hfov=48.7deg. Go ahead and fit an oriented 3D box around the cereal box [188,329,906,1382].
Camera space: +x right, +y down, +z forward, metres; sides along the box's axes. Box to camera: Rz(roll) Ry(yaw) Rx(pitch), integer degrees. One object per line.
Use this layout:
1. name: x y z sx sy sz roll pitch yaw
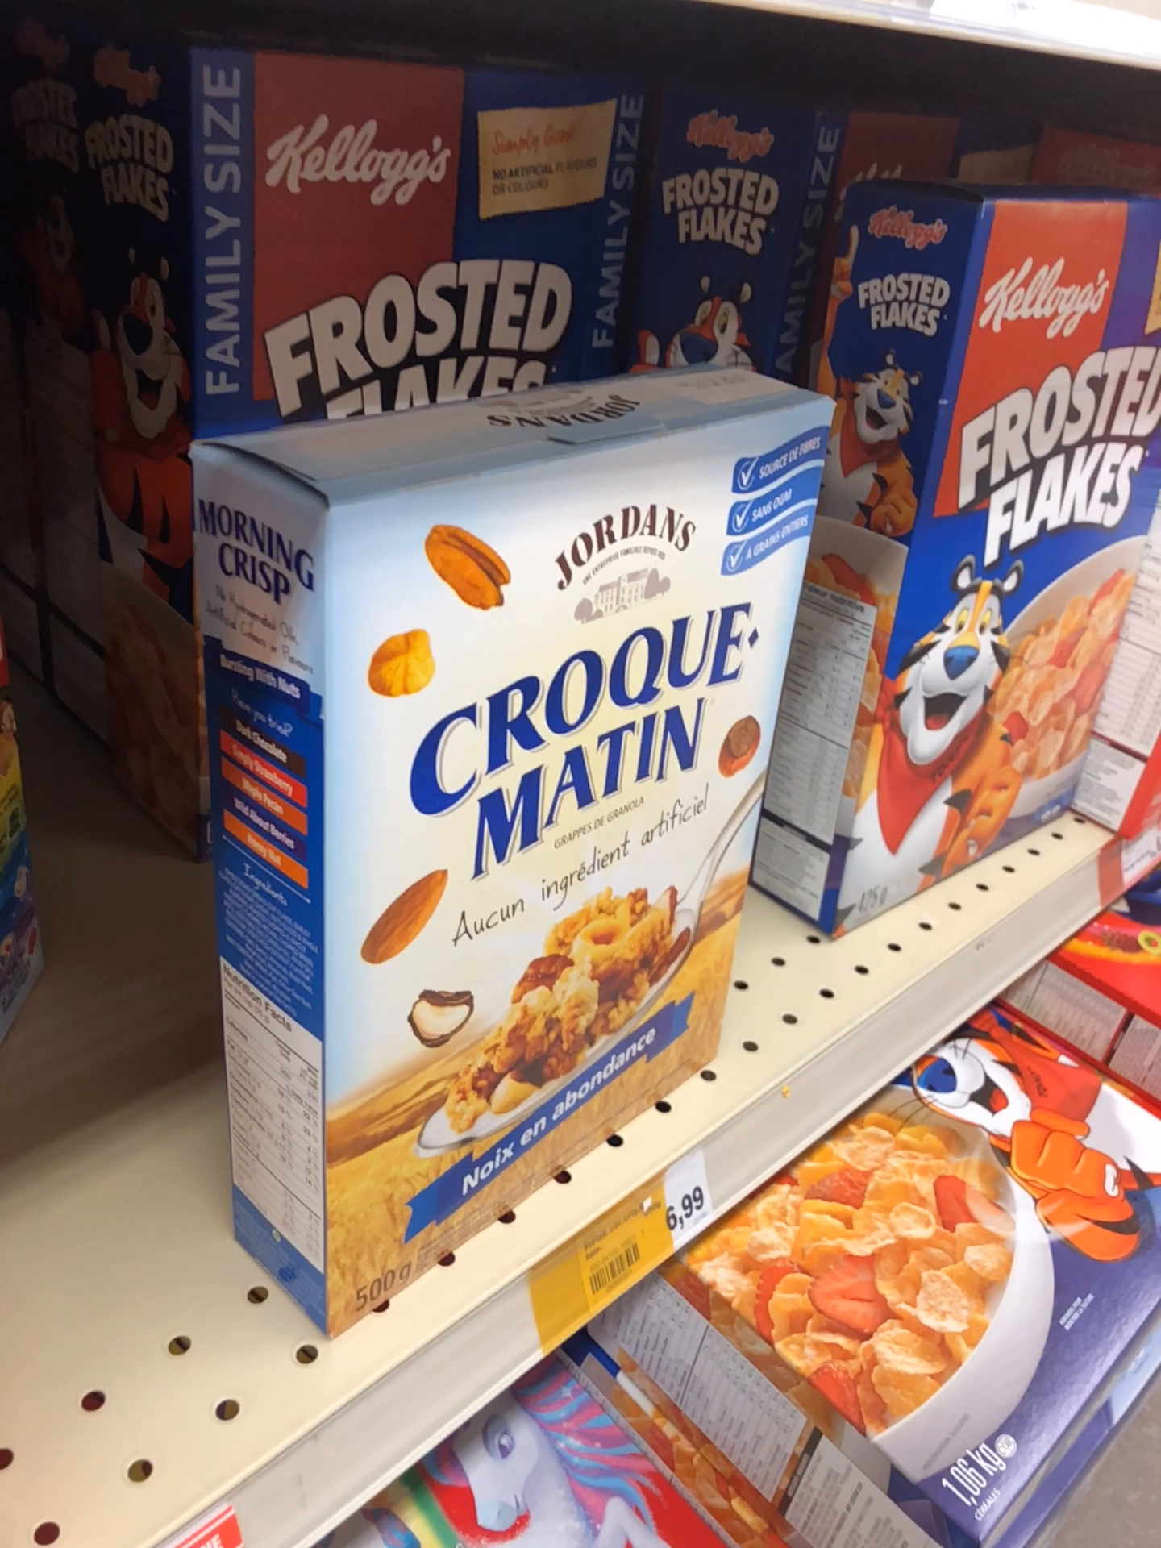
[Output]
1. cereal box: -0.007 0.017 0.375 0.050 0.258 0.201 29 36 33
